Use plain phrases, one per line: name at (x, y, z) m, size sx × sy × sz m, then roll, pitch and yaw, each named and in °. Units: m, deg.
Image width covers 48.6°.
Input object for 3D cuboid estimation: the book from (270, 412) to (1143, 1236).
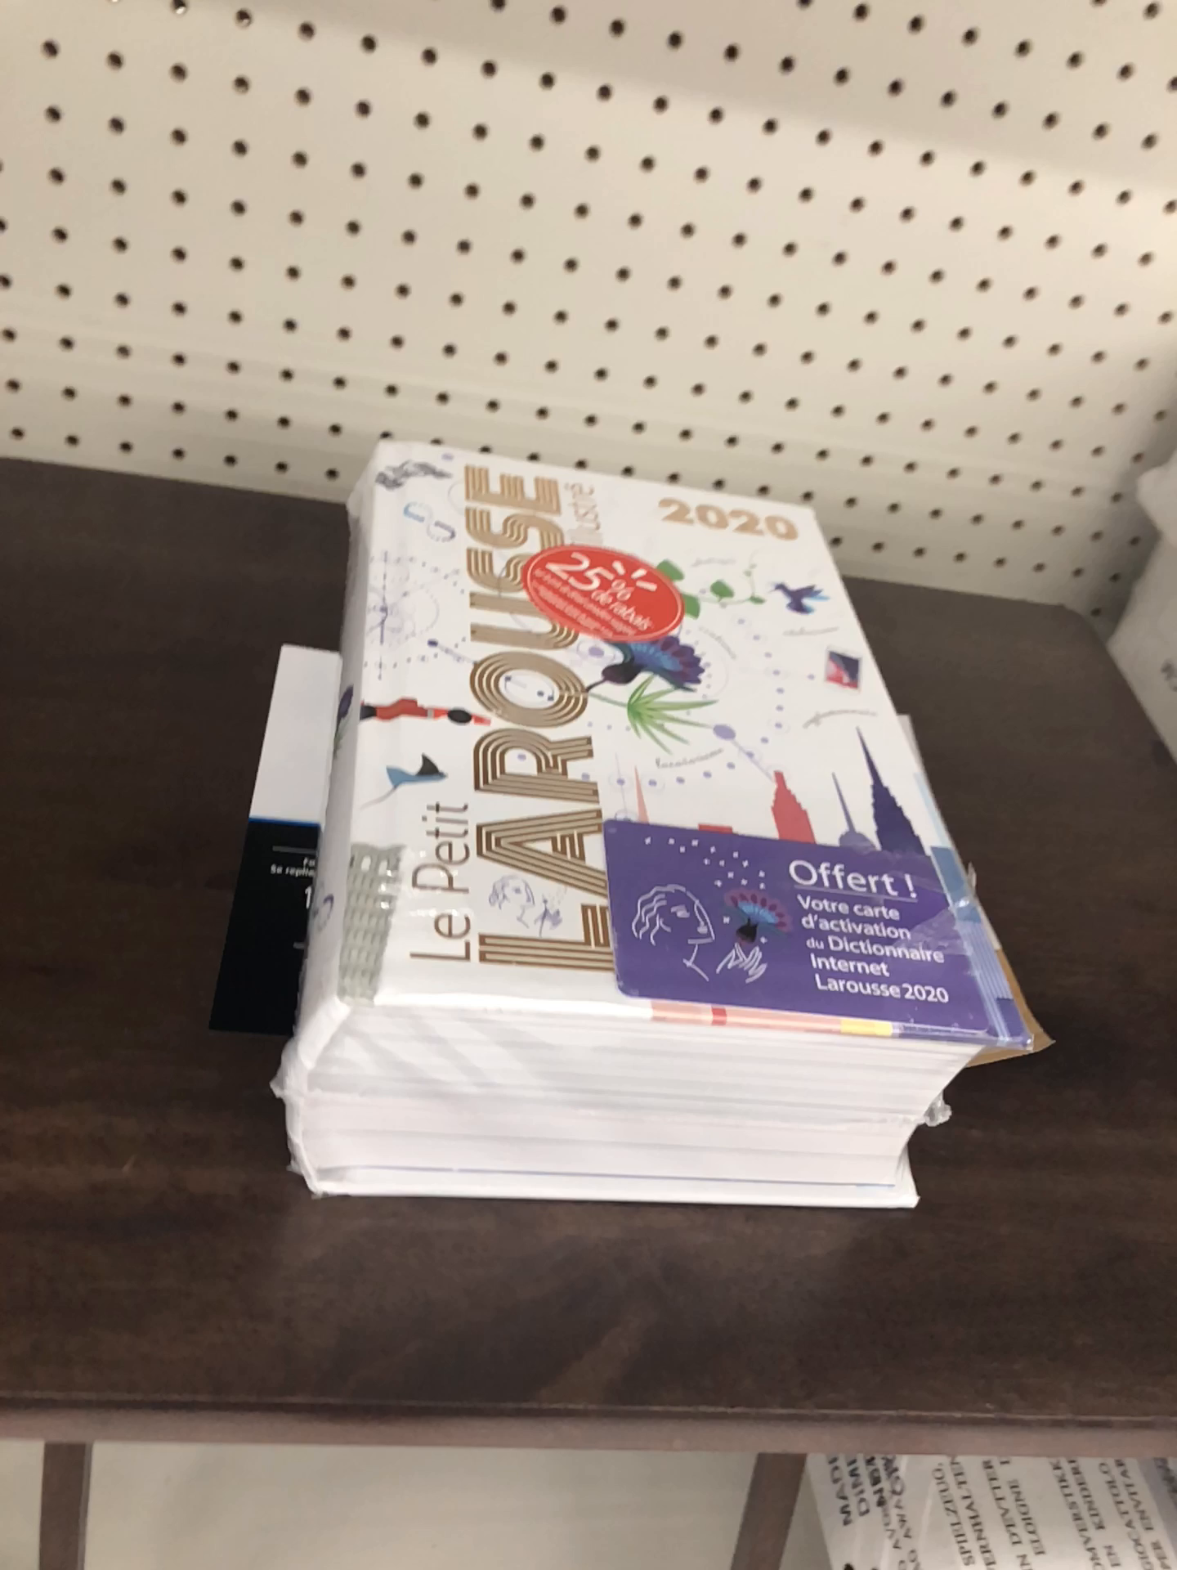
book at (0.013, -0.004, 0.356) m, size 0.170 × 0.069 × 0.232 m, roll 6°, pitch 41°, yaw -12°
